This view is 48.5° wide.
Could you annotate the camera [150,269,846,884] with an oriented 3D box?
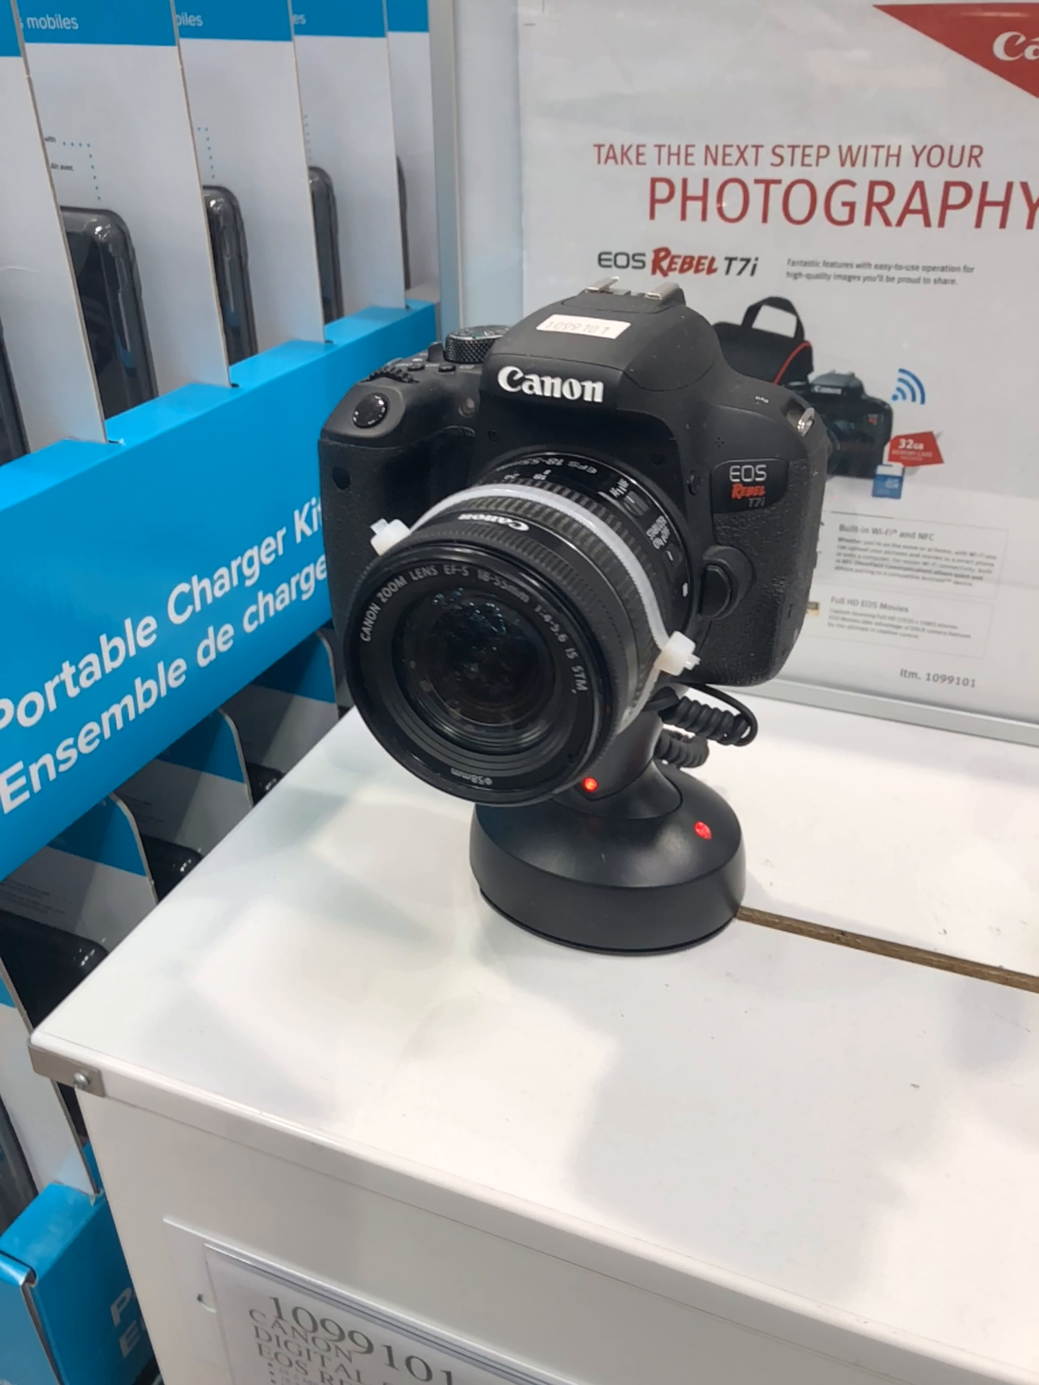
[{"bbox_3d":[0.007,-0.047,0.317,0.130,0.100,0.150,10,32,18],"label":"camera"}]
